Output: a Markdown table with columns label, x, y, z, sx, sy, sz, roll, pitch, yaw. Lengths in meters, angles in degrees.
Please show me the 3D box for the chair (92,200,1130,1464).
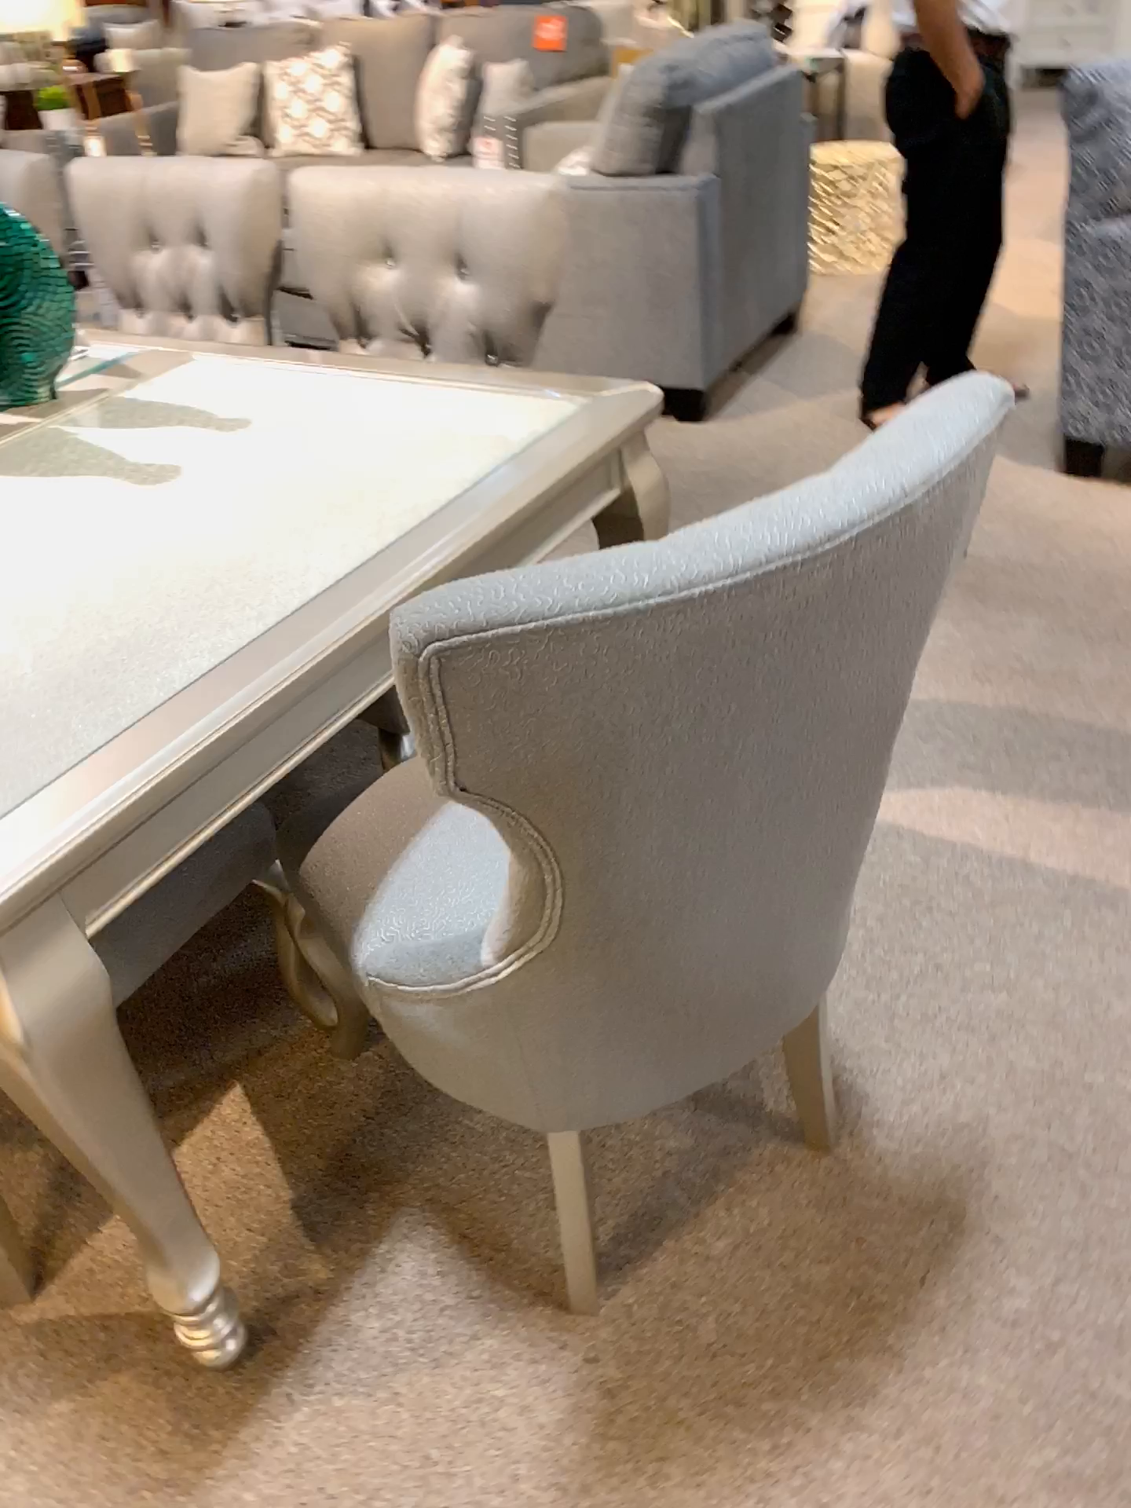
| label | x | y | z | sx | sy | sz | roll | pitch | yaw |
| --- | --- | --- | --- | --- | --- | --- | --- | --- | --- |
| chair | 0.048 | 0.029 | 1.172 | 0.581 | 0.915 | 0.683 | -25 | 40 | -25 |
